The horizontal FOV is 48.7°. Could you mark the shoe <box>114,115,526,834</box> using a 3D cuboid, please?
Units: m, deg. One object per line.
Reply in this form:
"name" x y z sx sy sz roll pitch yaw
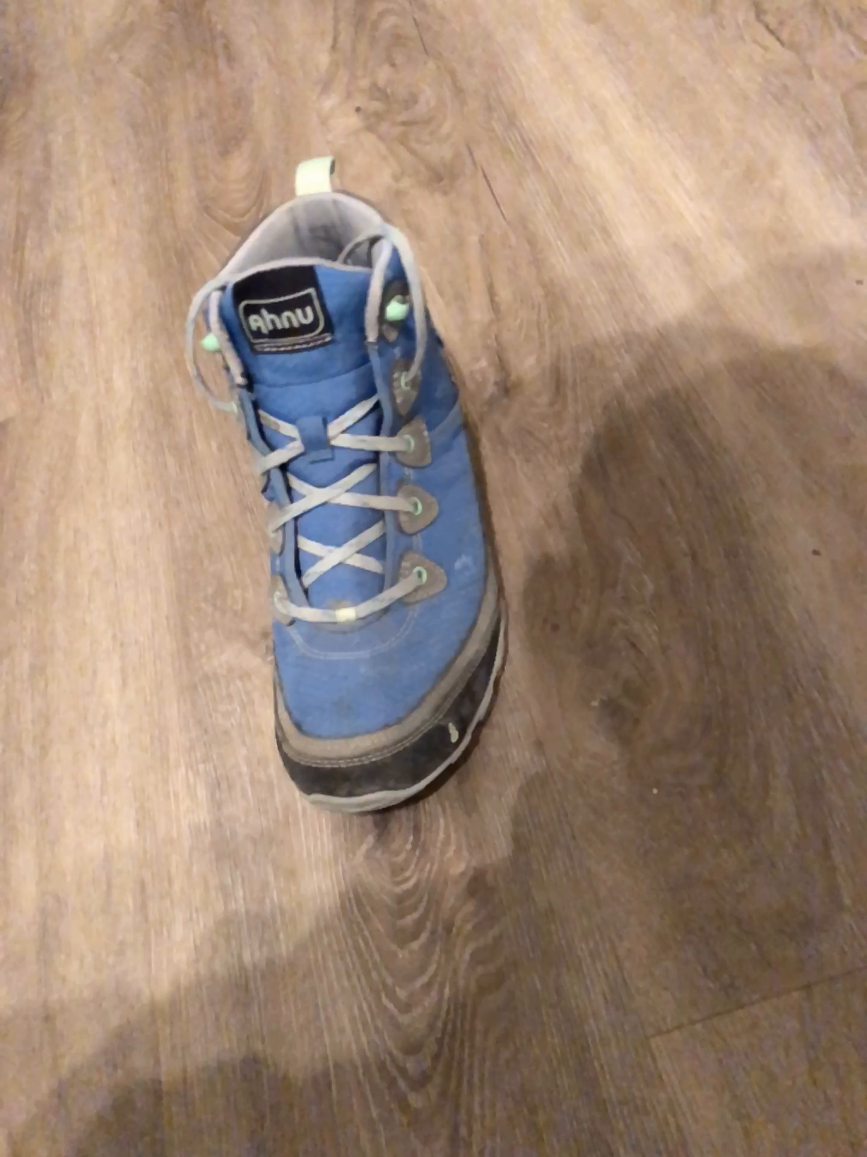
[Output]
"shoe" -0.030 -0.042 0.398 0.100 0.140 0.251 -8 58 12
